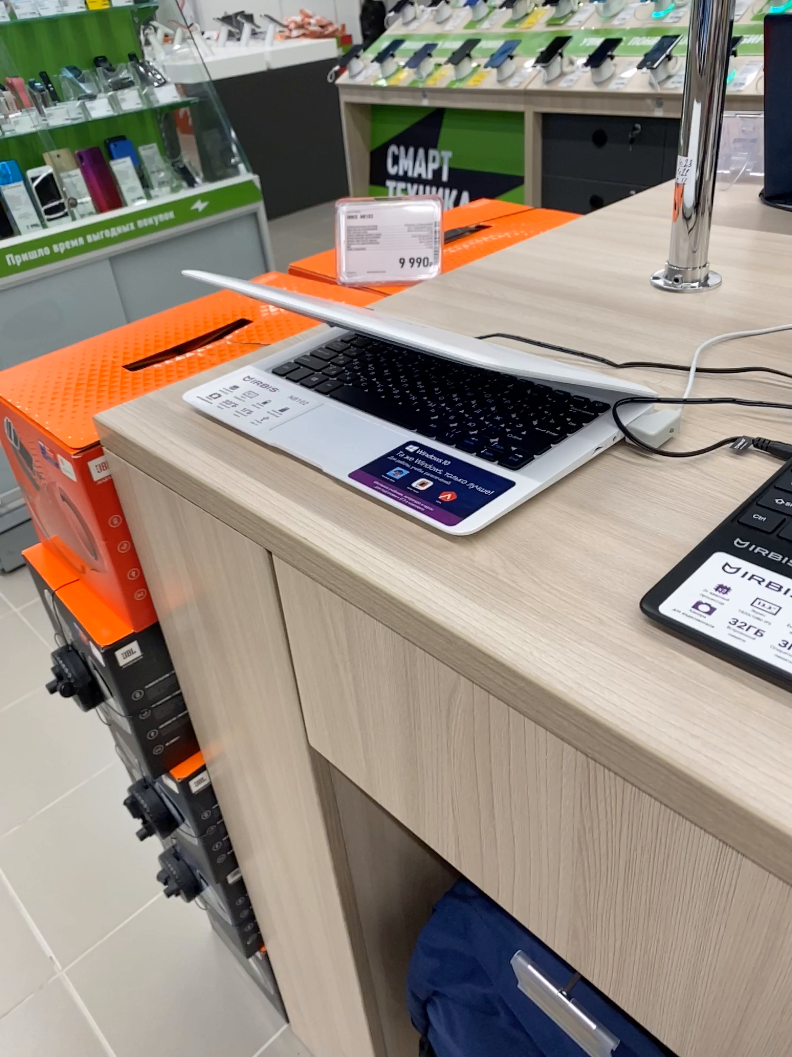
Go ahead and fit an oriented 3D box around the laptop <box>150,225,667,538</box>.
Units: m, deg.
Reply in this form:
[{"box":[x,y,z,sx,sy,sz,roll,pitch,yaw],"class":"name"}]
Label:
[{"box":[-0.003,-0.117,0.524,0.178,0.078,0.281,-32,41,-32],"class":"laptop"}]
